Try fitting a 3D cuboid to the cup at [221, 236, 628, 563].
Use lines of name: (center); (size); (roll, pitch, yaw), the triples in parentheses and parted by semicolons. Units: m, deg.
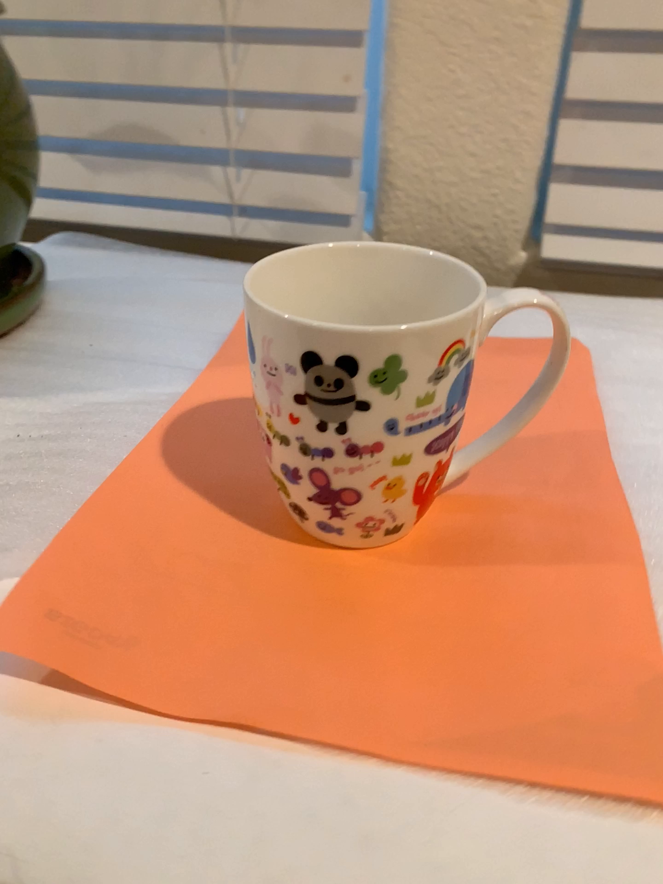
cup: (0.025, -0.020, 0.262); (0.120, 0.089, 0.091); (-1, 32, -3)
